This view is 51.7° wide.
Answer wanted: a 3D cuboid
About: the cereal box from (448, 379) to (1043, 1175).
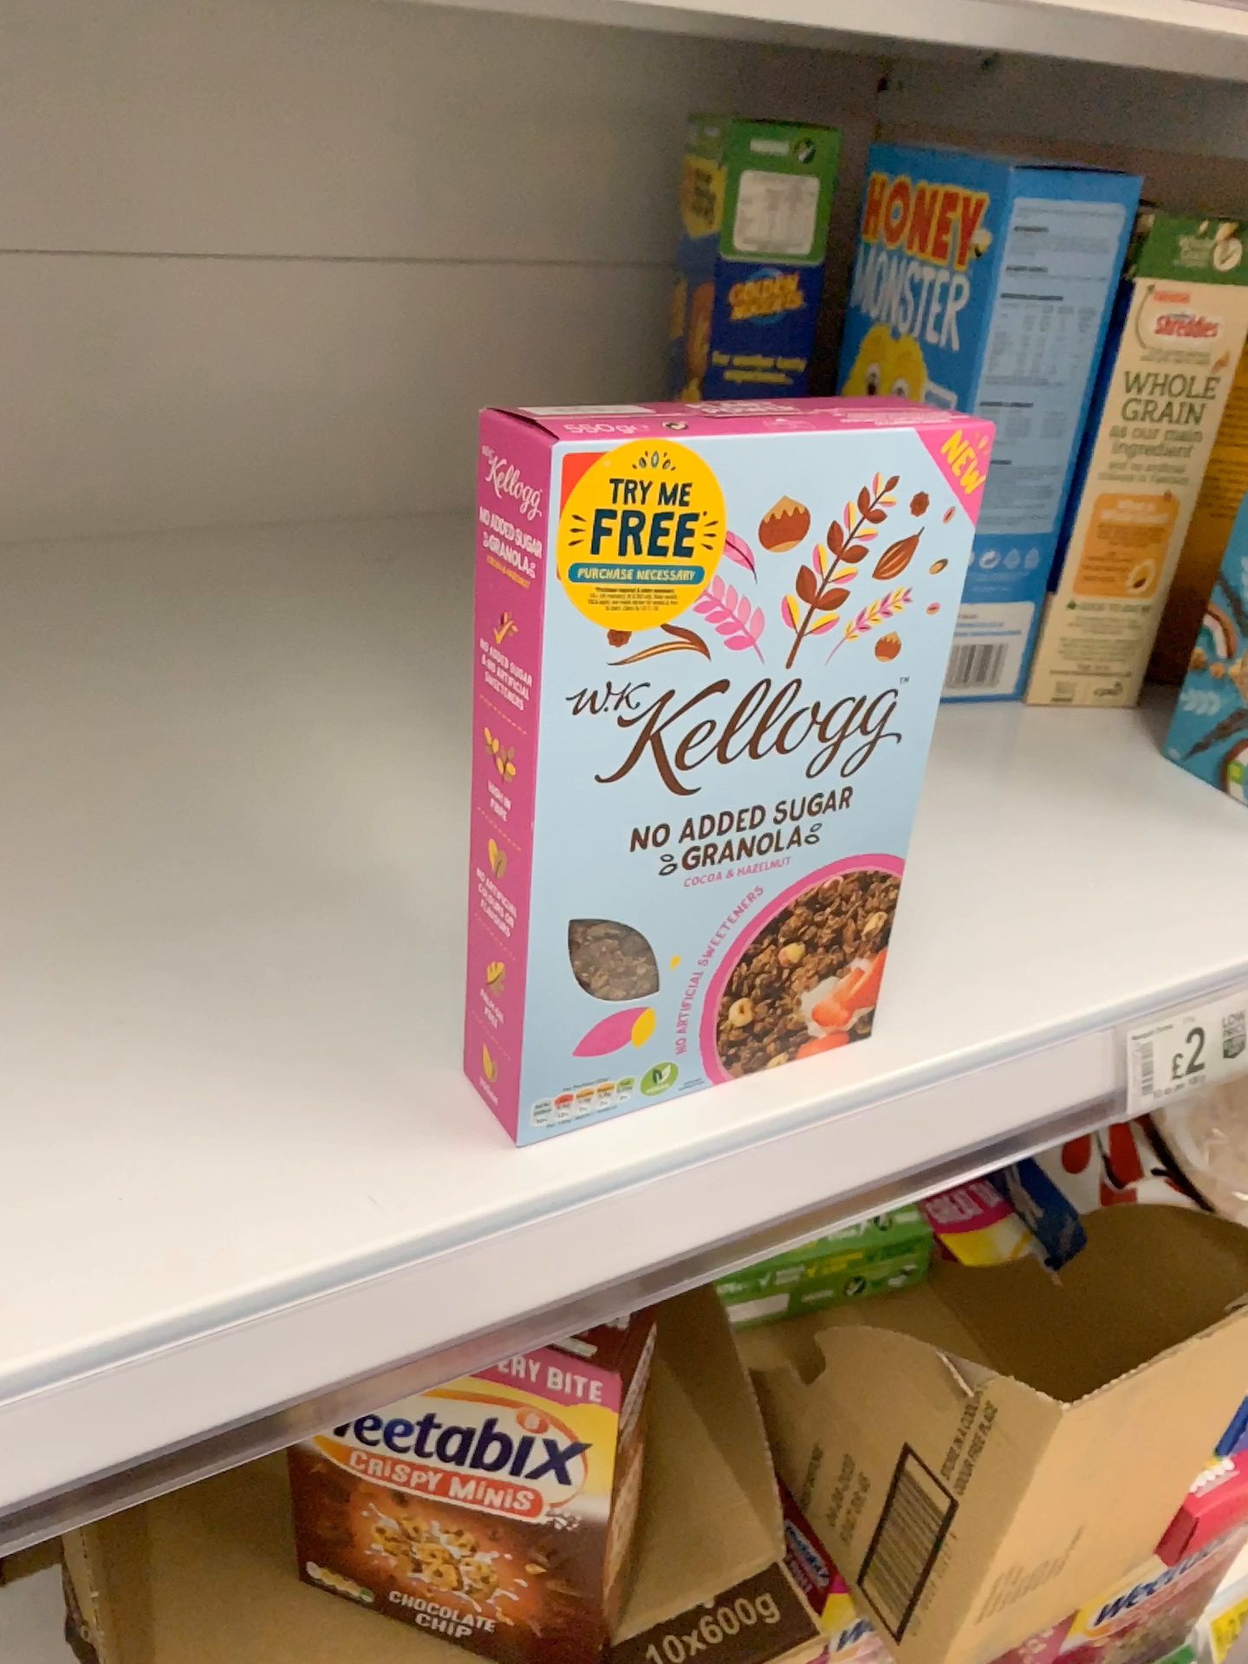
[{"bbox_3d":[0.032,-0.018,0.436,0.170,0.248,0.050,-11,33,-27],"label":"cereal box"}]
